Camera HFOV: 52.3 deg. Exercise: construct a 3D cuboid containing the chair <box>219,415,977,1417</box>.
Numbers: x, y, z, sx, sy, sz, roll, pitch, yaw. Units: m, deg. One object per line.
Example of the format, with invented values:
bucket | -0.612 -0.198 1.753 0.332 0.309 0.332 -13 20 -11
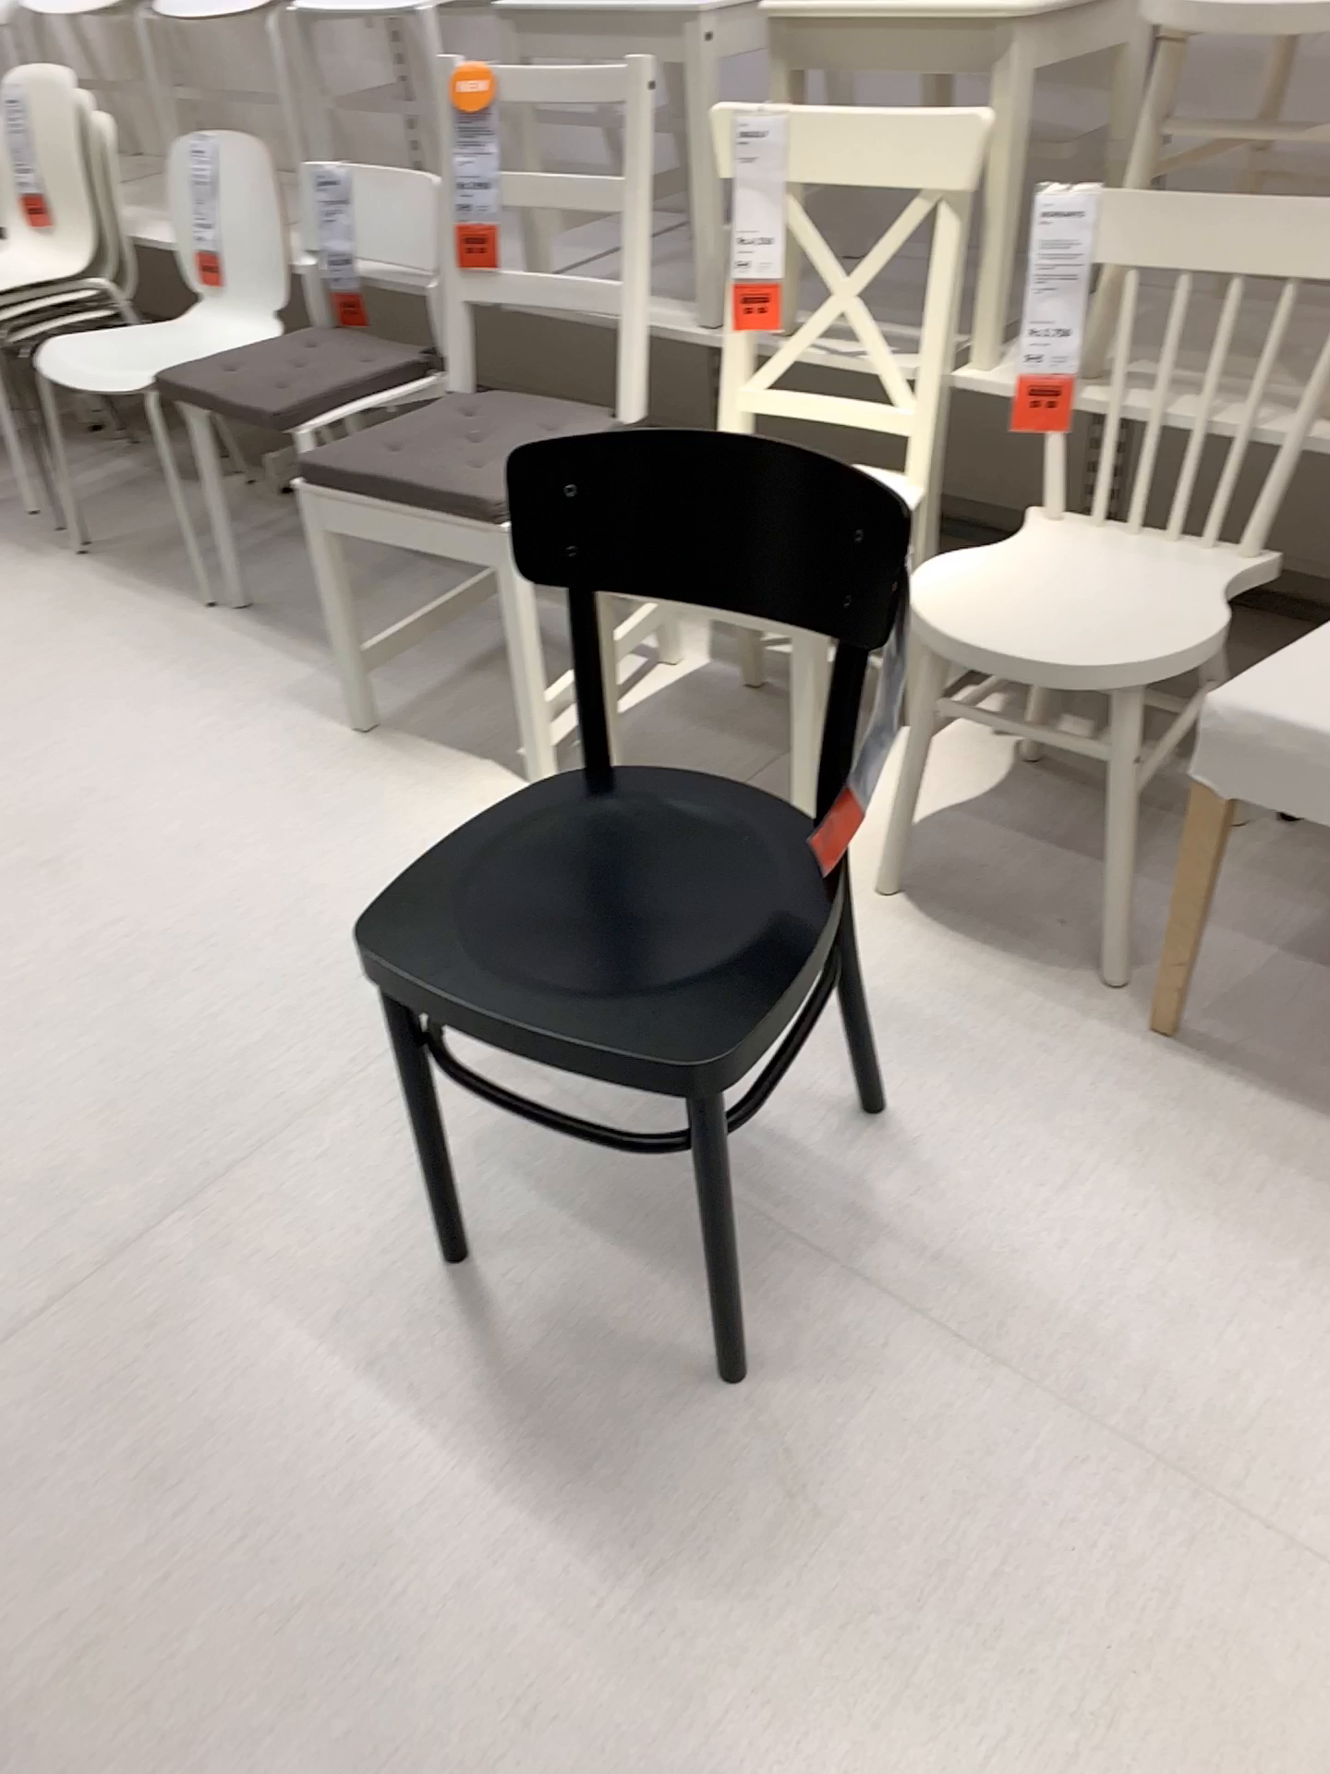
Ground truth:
chair | -0.004 0.023 1.320 0.431 0.767 0.471 15 43 25
